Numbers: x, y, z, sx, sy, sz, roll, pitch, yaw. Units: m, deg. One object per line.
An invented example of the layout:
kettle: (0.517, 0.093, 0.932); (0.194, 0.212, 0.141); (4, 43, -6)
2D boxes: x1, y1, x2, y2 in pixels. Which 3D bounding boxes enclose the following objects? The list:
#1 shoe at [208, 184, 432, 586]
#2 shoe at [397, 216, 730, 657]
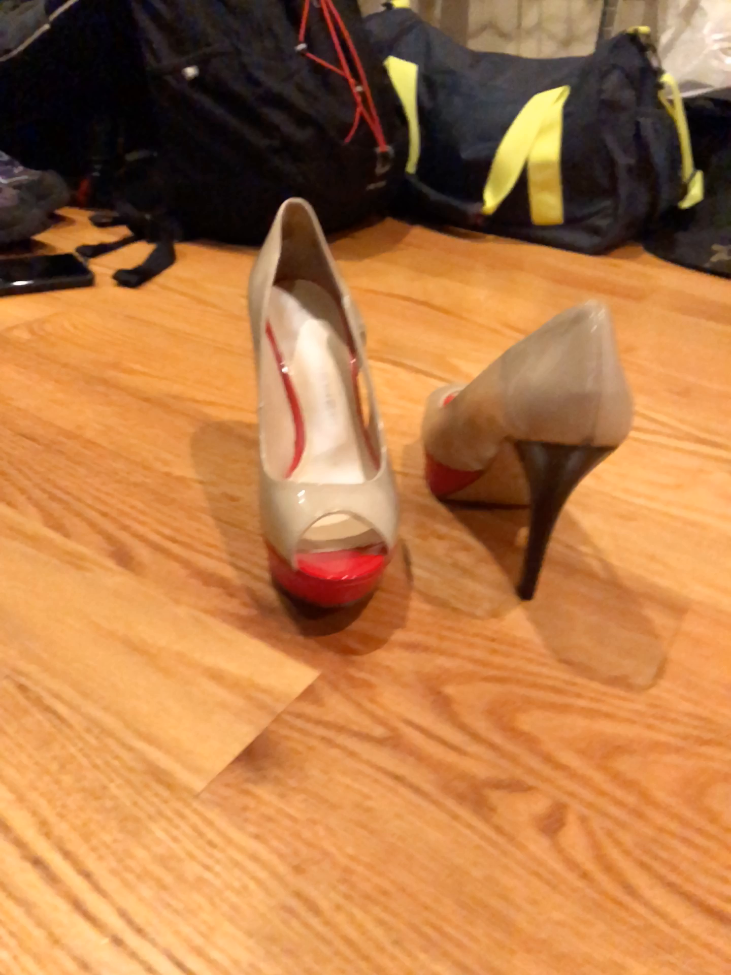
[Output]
shoe: (-0.038, -0.068, 0.428); (0.085, 0.129, 0.216); (-1, 32, -10)
shoe: (0.088, -0.043, 0.442); (0.080, 0.149, 0.221); (-2, 32, -12)
